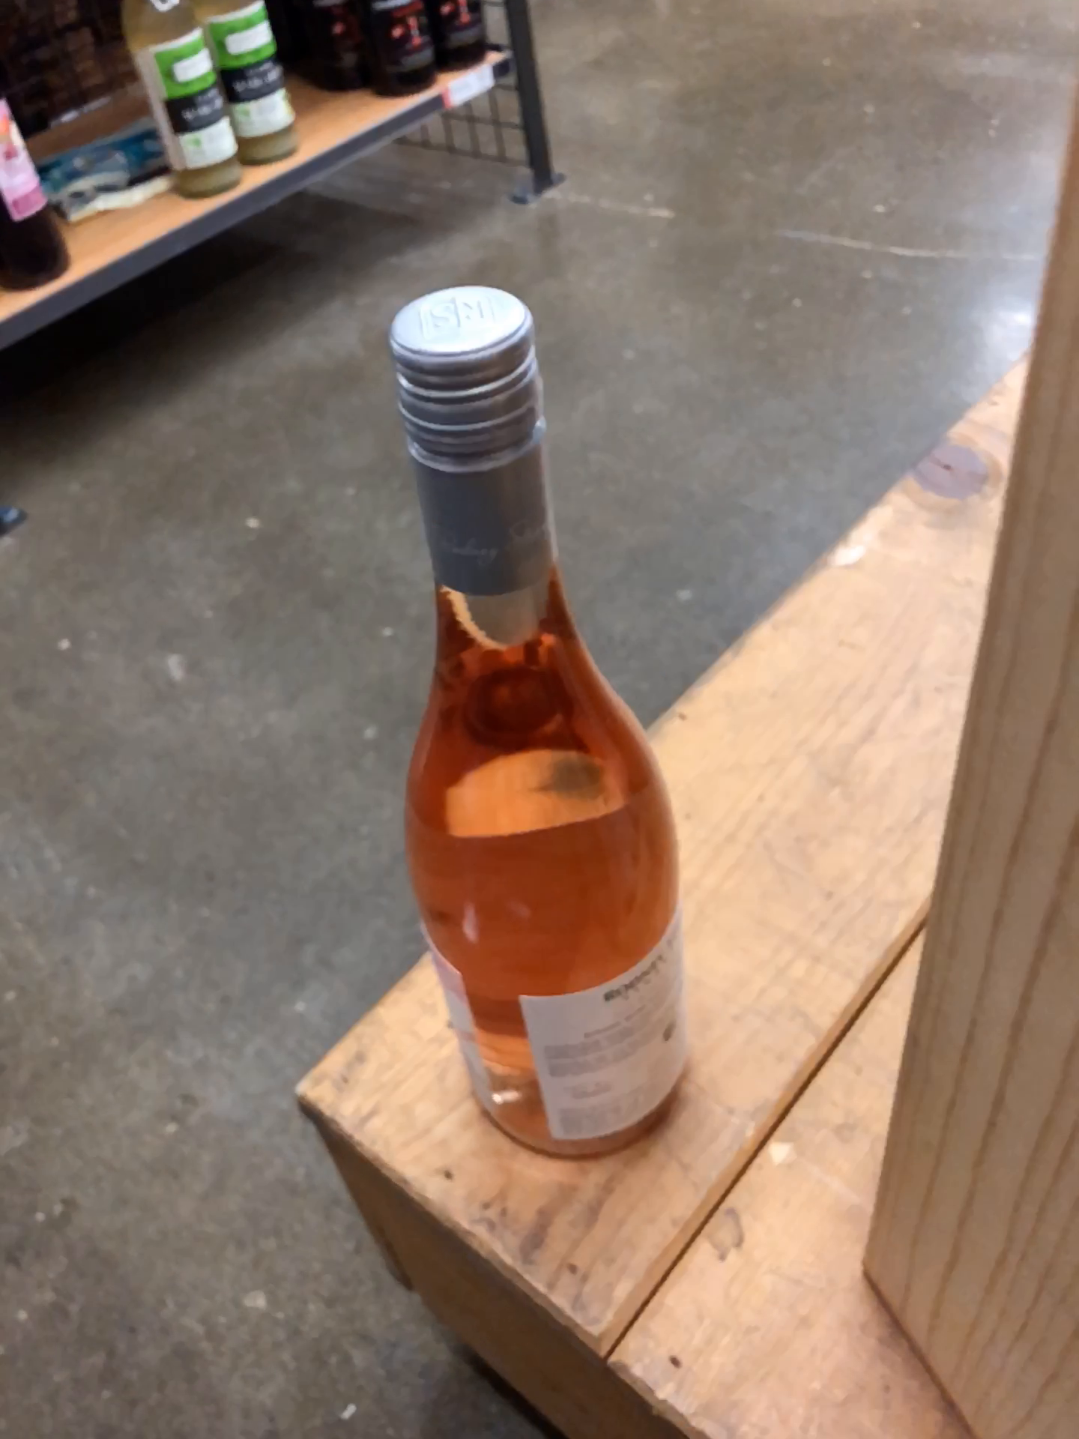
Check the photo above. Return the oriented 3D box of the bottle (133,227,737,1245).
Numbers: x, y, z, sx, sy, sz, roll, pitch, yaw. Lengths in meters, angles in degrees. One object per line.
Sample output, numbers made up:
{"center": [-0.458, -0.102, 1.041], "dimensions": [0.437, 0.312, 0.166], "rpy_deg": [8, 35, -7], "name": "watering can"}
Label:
{"center": [-0.001, 0.034, 0.342], "dimensions": [0.082, 0.309, 0.080], "rpy_deg": [-6, 45, 6], "name": "bottle"}
